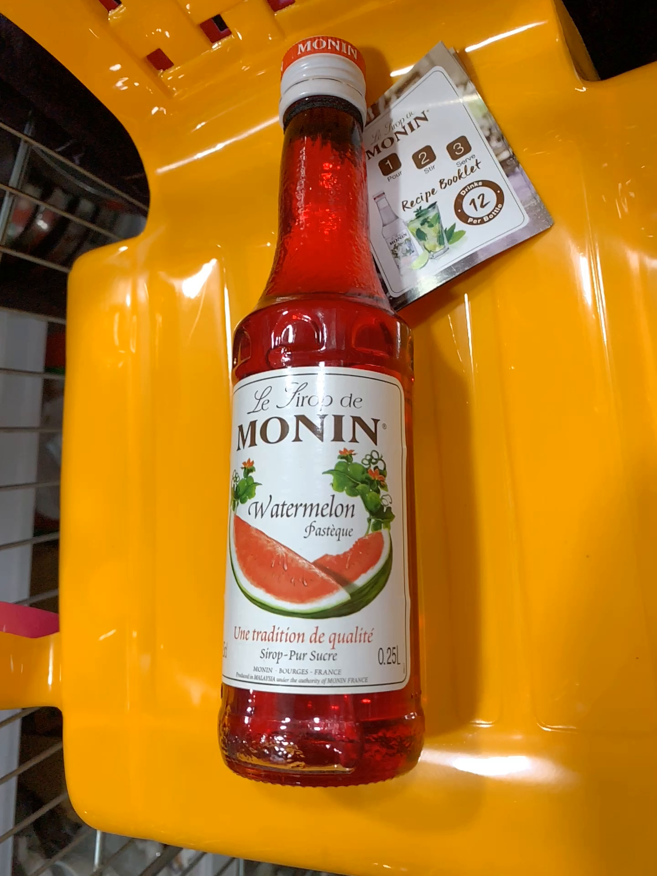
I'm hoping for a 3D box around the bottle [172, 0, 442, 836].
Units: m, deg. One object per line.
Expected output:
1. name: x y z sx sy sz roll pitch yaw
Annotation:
1. bottle: -0.004 -0.019 0.203 0.060 0.050 0.230 -4 79 15
